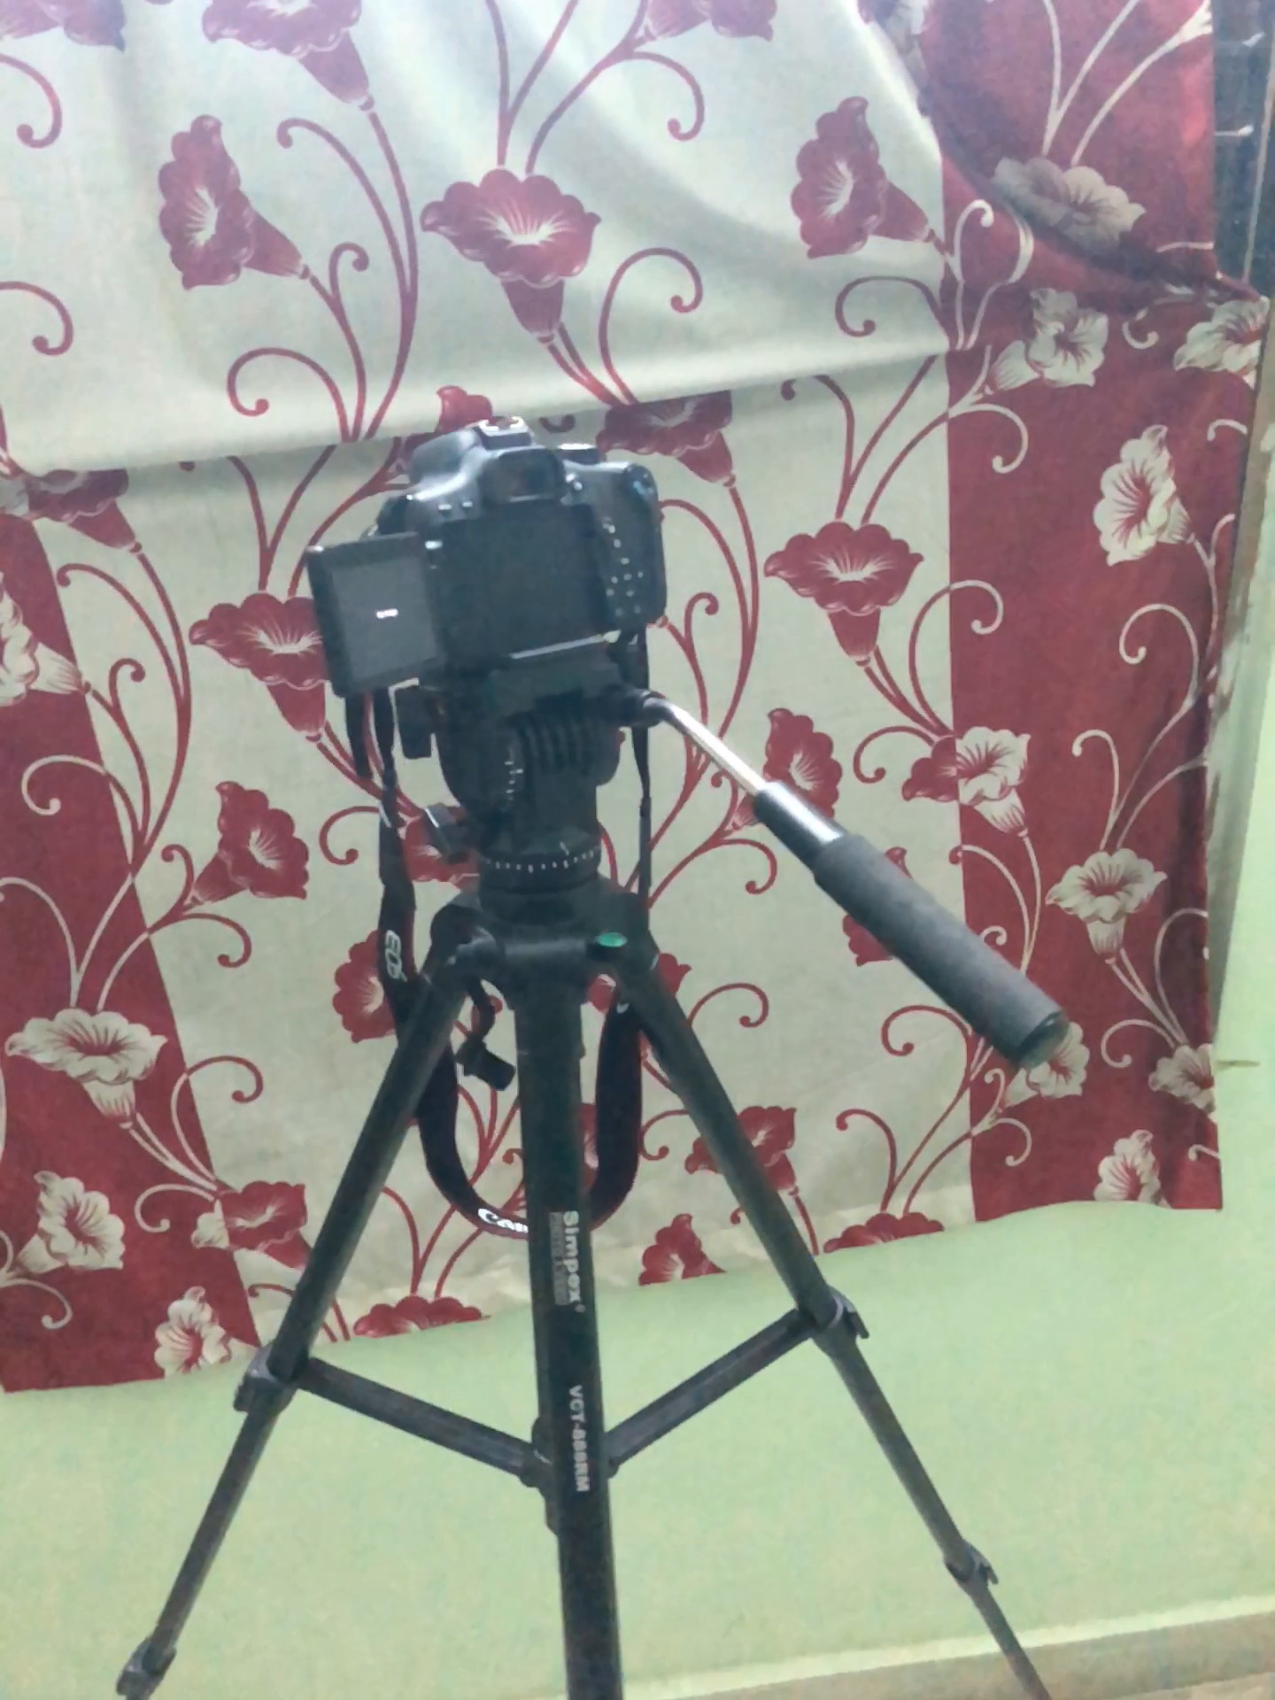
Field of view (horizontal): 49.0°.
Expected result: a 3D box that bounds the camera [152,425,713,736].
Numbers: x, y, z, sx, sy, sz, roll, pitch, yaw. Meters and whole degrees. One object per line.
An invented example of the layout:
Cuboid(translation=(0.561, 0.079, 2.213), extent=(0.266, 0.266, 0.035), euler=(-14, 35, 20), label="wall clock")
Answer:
Cuboid(translation=(-0.089, -0.130, 0.623), extent=(0.200, 0.087, 0.141), euler=(-16, 27, -30), label="camera")
